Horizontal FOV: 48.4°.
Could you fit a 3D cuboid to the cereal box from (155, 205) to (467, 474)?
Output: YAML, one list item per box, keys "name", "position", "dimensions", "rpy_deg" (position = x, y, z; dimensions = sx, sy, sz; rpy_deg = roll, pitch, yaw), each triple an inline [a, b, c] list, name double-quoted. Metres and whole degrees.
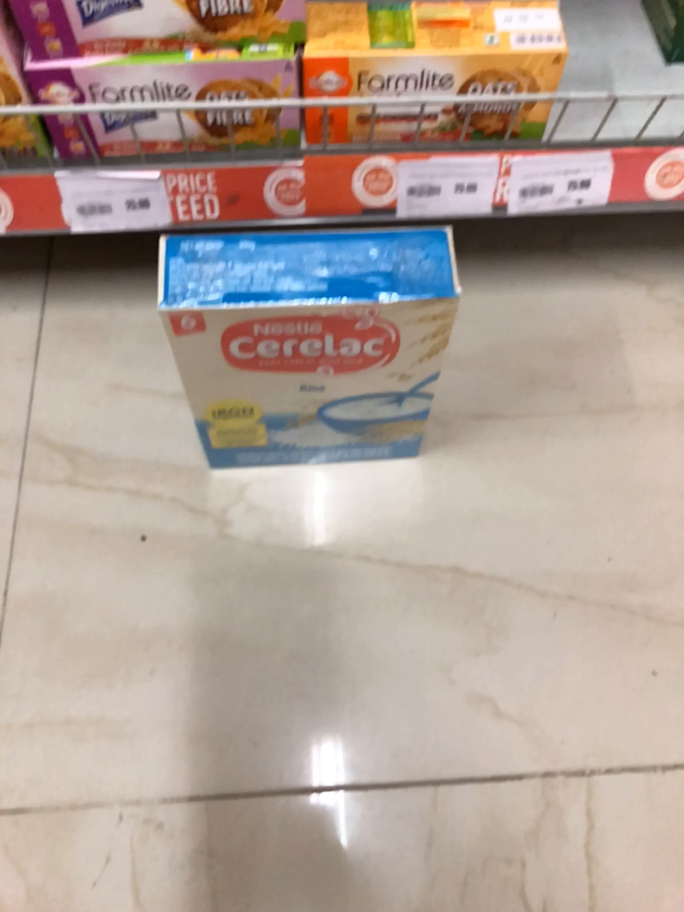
- name: "cereal box"
  position: [-0.018, -0.059, 0.464]
  dimensions: [0.150, 0.189, 0.060]
  rpy_deg: [-3, 65, -3]
